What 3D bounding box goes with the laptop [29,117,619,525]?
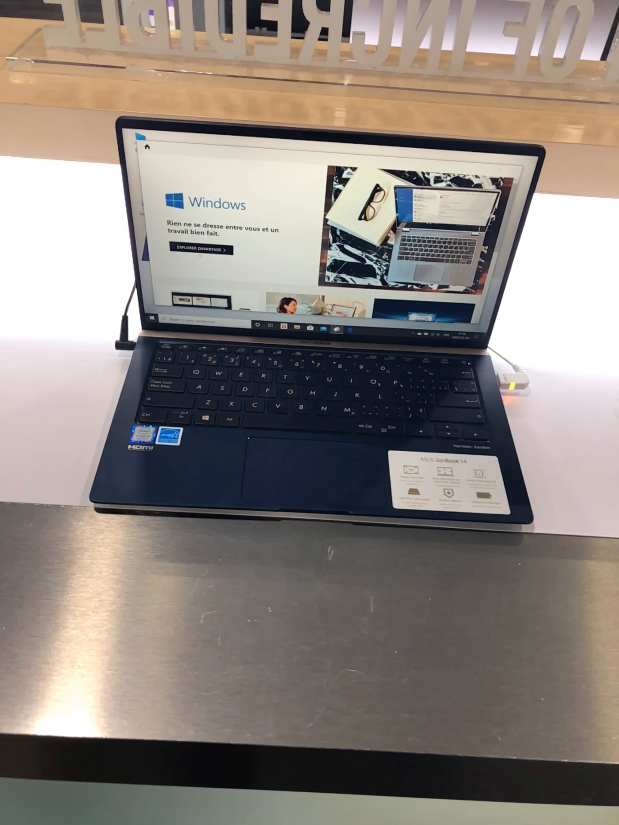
[{"bbox_3d":[0.011,-0.062,0.467,0.301,0.182,0.192,3,44,-3],"label":"laptop"}]
